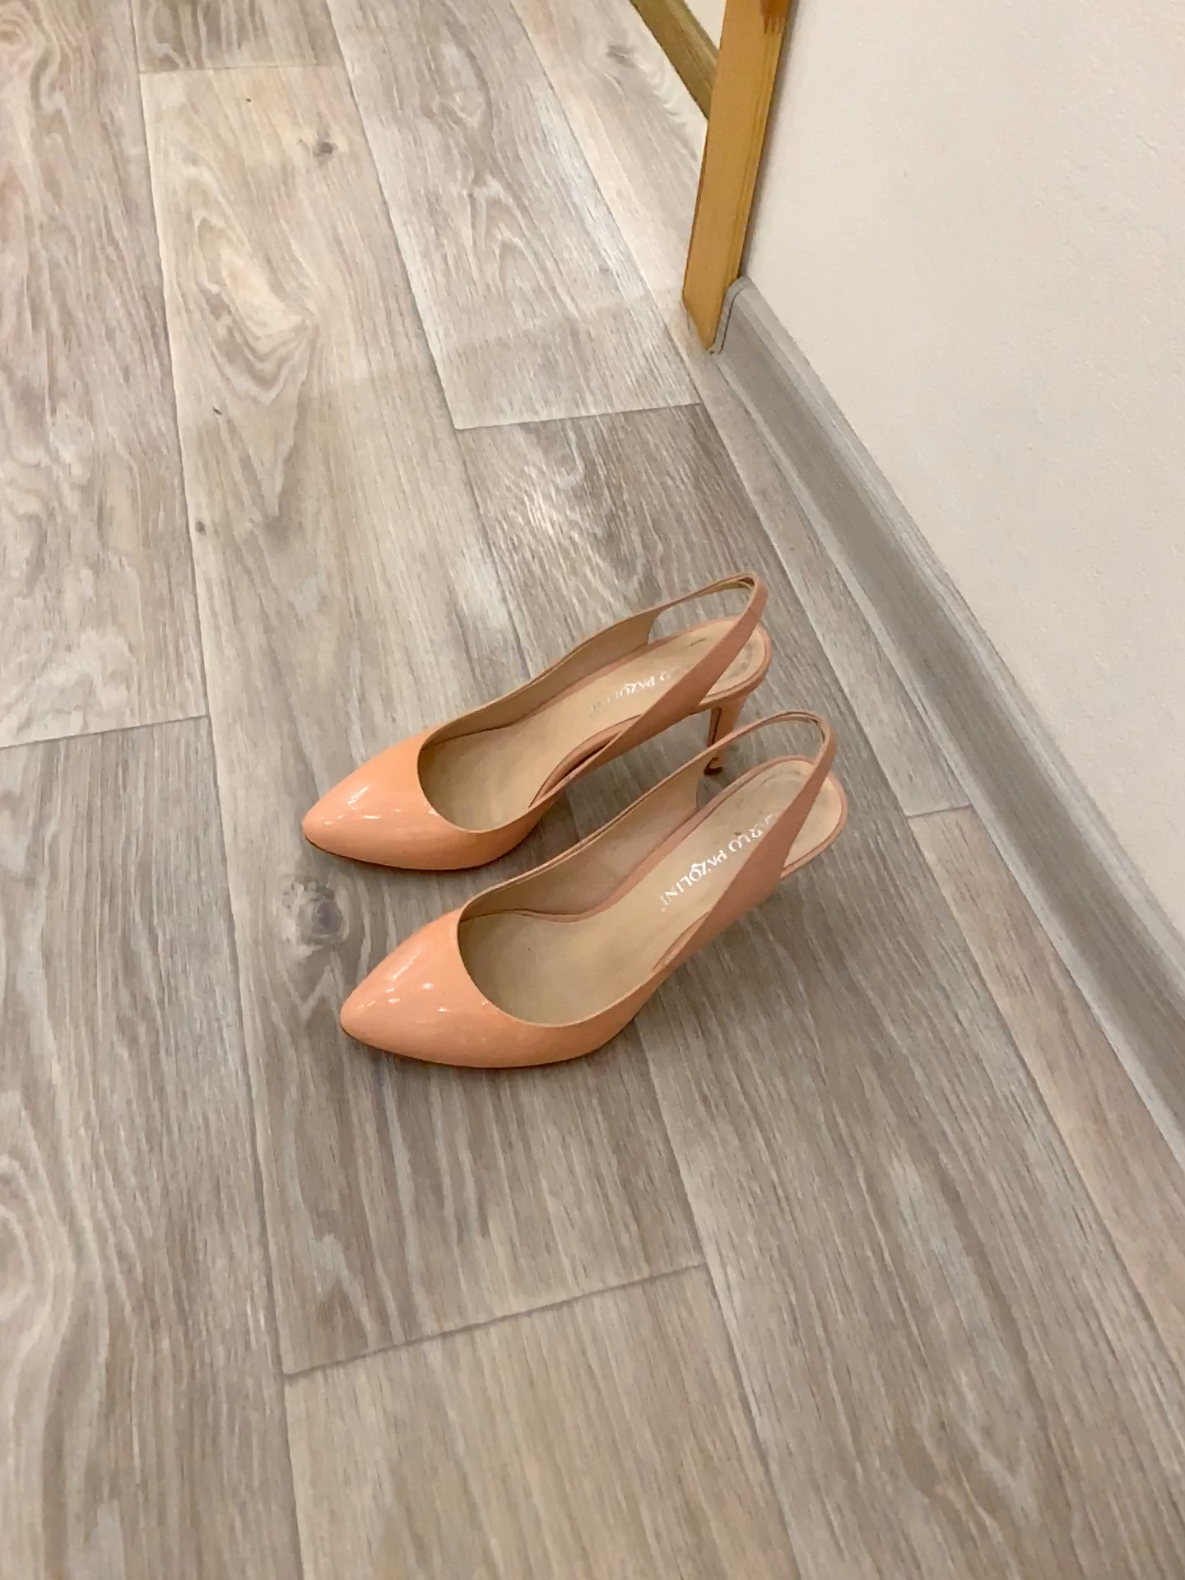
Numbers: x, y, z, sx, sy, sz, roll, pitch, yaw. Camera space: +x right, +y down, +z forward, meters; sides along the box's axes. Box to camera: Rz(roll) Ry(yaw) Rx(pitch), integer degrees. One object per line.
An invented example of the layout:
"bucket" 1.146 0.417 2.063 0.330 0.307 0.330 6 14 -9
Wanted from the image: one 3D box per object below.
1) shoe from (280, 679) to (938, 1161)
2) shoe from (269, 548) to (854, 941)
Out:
"shoe" 0.005 0.054 0.519 0.240 0.120 0.090 -17 58 -16
"shoe" -0.017 -0.022 0.578 0.240 0.120 0.090 -12 56 -13
